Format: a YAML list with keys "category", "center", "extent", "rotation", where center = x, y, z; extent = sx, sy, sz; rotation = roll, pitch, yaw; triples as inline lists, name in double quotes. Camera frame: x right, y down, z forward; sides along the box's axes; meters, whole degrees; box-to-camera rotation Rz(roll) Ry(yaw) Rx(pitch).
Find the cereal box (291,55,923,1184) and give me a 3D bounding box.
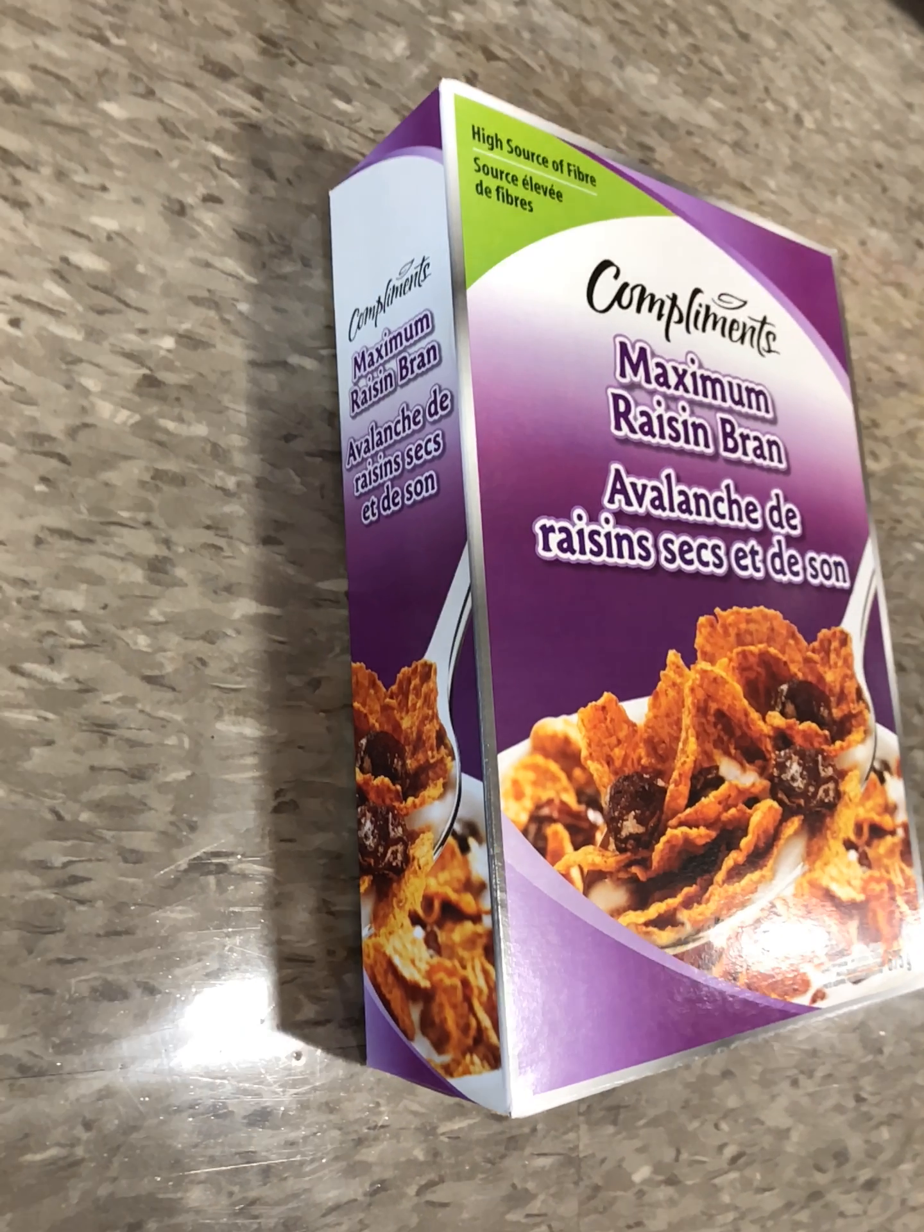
- category: "cereal box"
  center: [0.051, -0.002, 0.363]
  extent: [0.201, 0.070, 0.310]
  rotation: [5, 75, -36]
